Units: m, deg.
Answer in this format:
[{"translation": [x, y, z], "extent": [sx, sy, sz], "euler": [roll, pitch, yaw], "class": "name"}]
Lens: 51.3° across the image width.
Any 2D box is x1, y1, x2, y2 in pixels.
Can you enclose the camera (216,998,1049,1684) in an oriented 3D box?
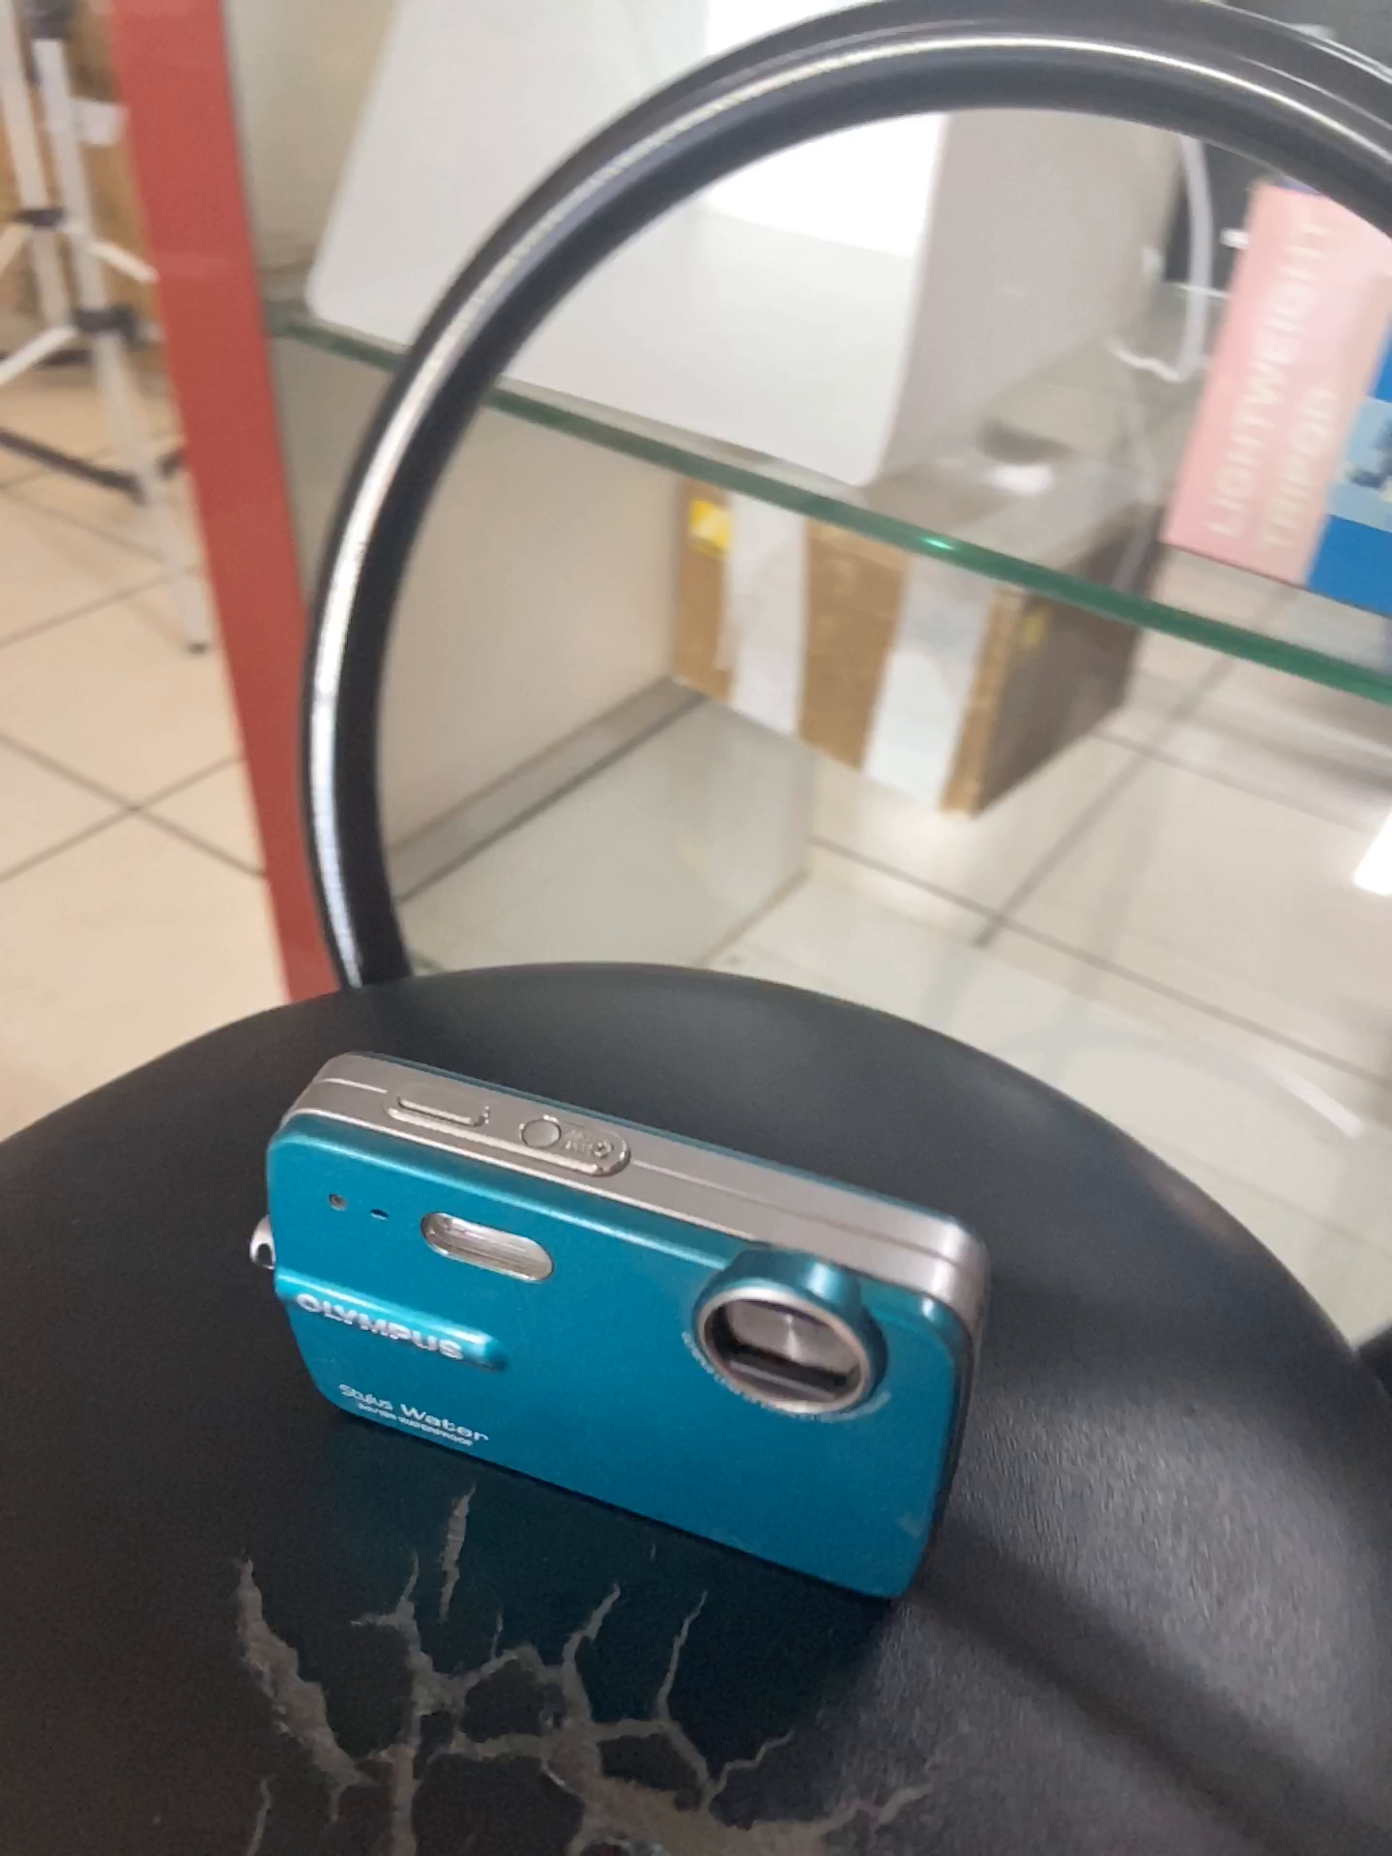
[{"translation": [-0.010, 0.058, 0.203], "extent": [0.100, 0.070, 0.030], "euler": [14, 39, 13], "class": "camera"}]
